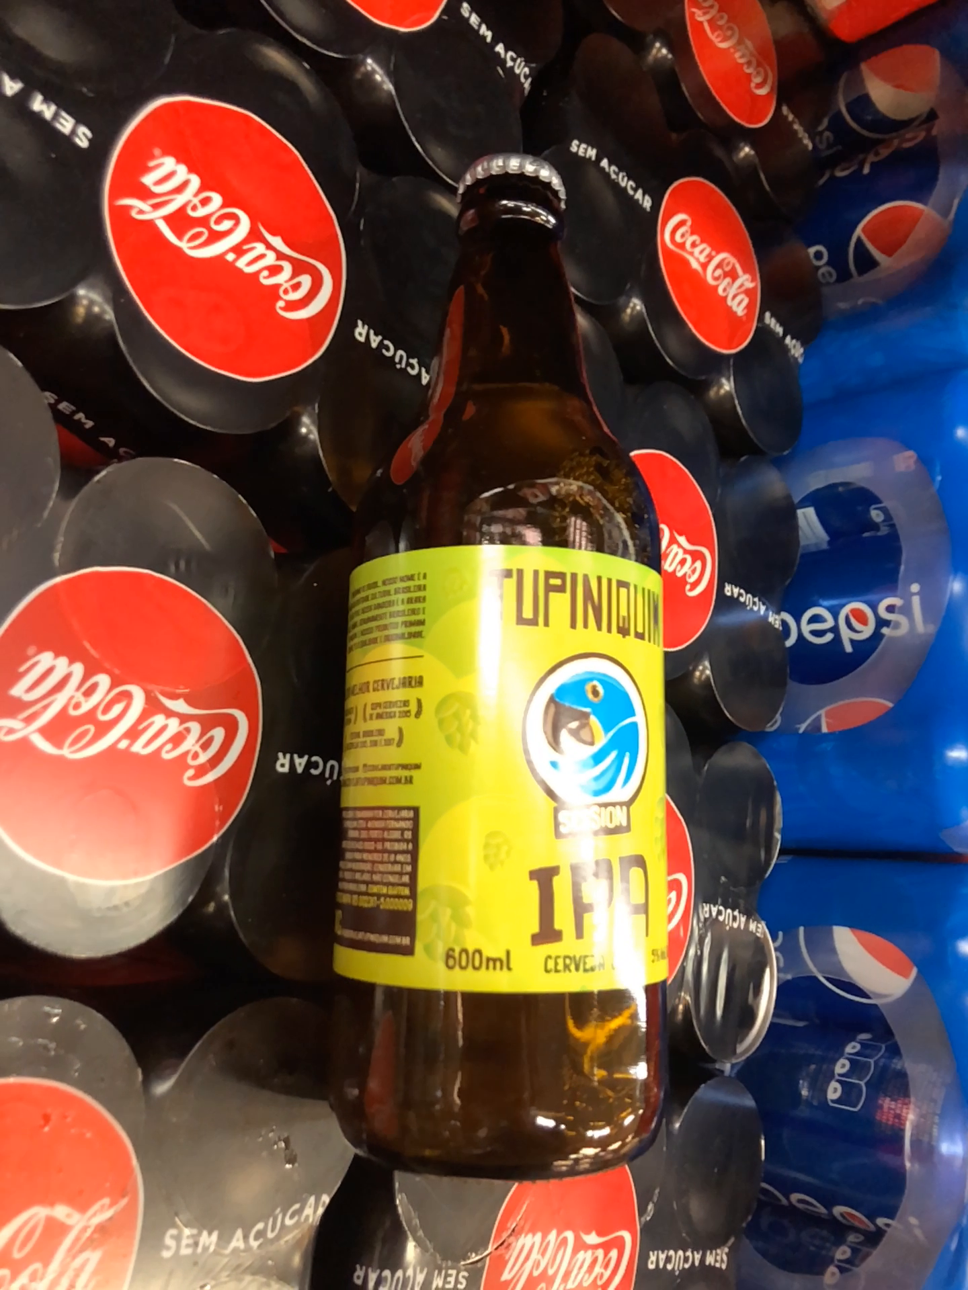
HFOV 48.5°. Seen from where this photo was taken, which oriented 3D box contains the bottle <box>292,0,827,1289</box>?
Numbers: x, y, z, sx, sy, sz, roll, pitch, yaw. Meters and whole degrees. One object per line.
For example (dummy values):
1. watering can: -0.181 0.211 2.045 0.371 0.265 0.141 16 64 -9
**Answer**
1. bottle: 0.018 -0.015 0.249 0.091 0.070 0.260 9 76 -43
